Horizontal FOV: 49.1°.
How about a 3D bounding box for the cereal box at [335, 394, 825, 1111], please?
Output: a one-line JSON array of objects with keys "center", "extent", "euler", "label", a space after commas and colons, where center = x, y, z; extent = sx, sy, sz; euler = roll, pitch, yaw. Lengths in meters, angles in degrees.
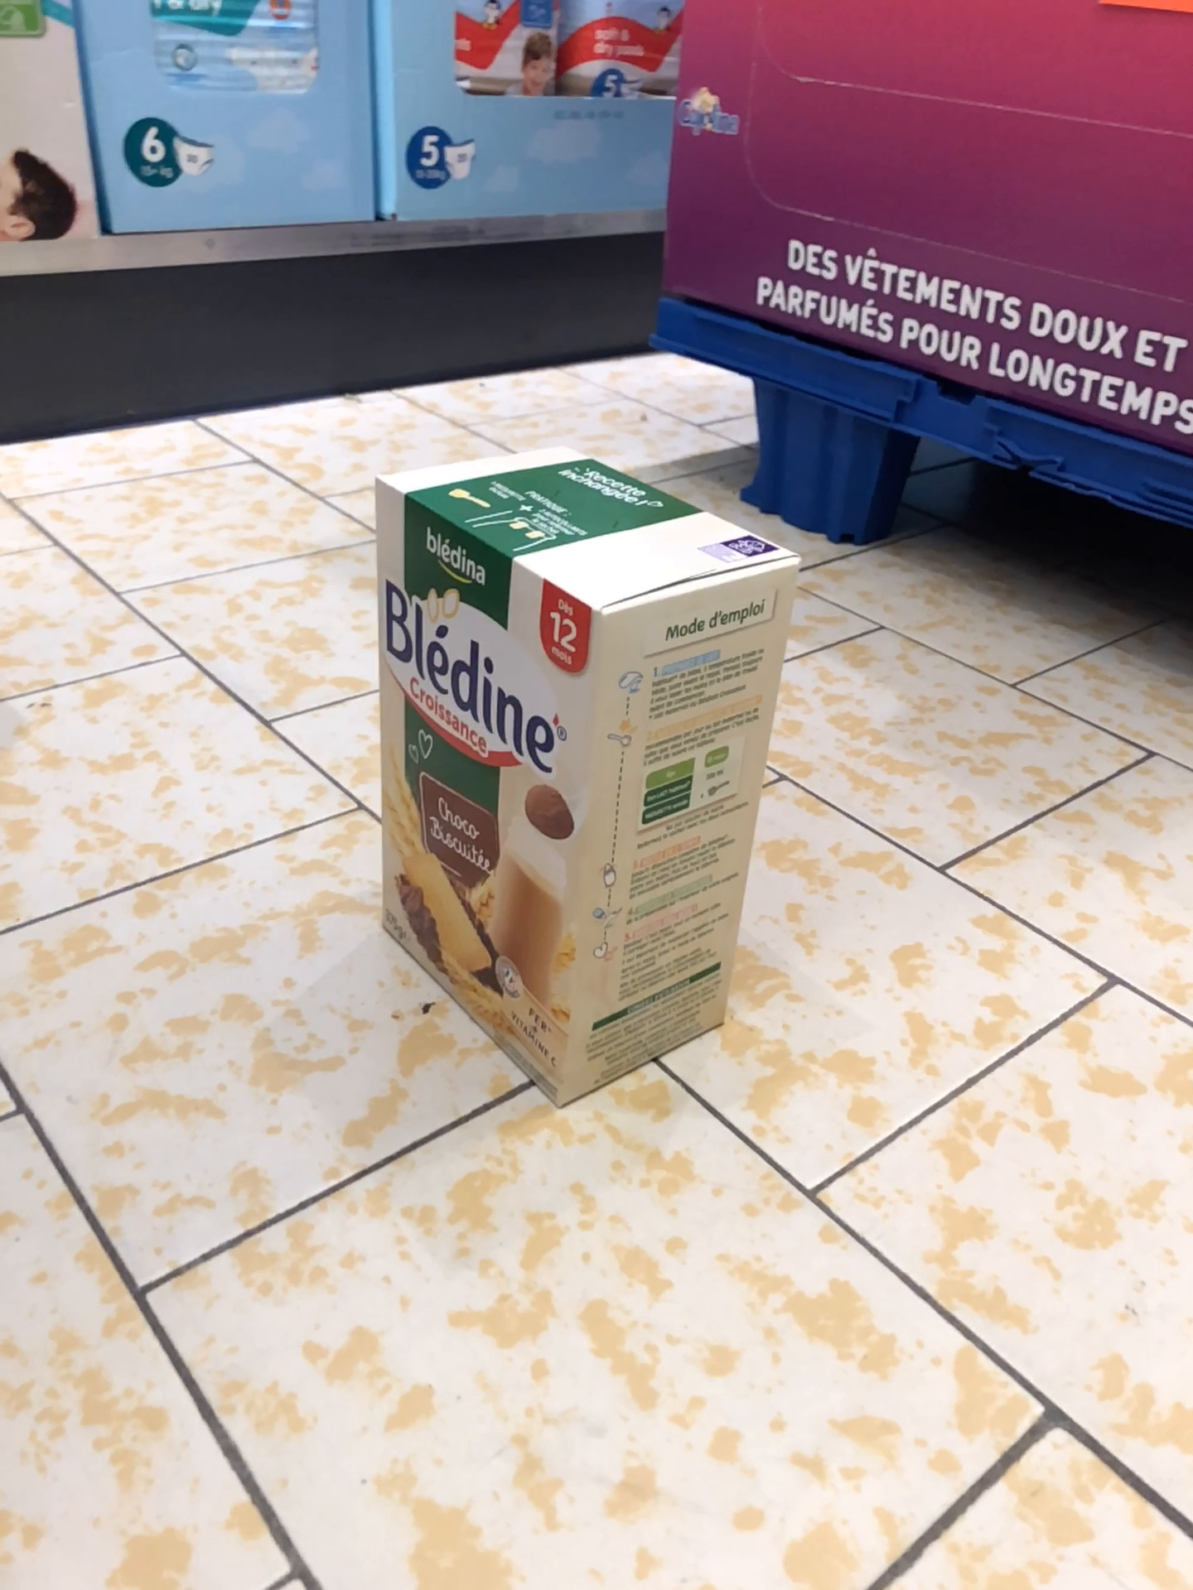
[{"center": [-0.014, -0.019, 0.424], "extent": [0.080, 0.179, 0.130], "euler": [-19, 38, -33], "label": "cereal box"}]
